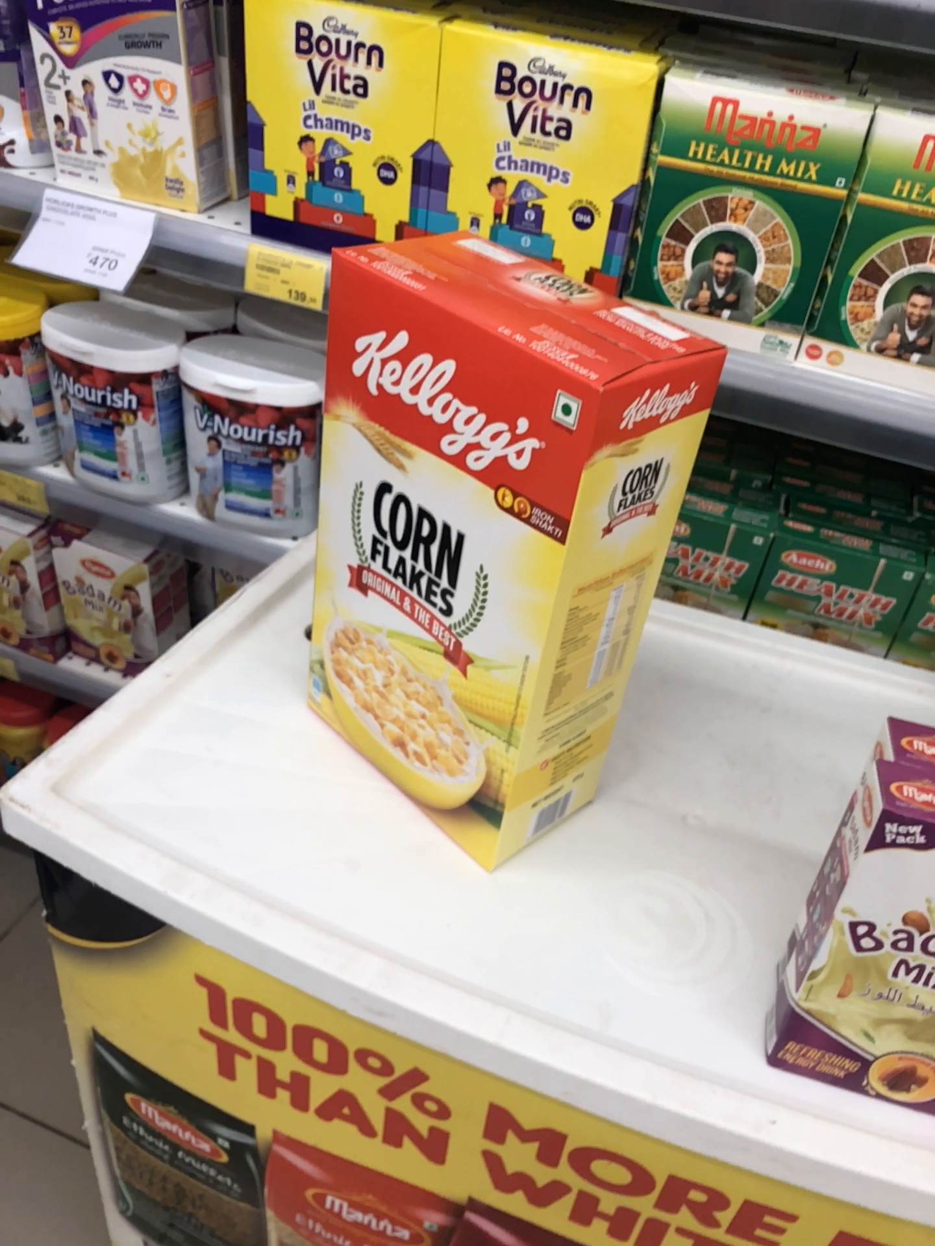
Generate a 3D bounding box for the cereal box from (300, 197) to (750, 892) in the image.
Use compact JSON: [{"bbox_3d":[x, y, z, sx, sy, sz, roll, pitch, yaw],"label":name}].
[{"bbox_3d":[0.007,-0.043,0.602,0.110,0.329,0.200,-24,46,-35],"label":"cereal box"}]
